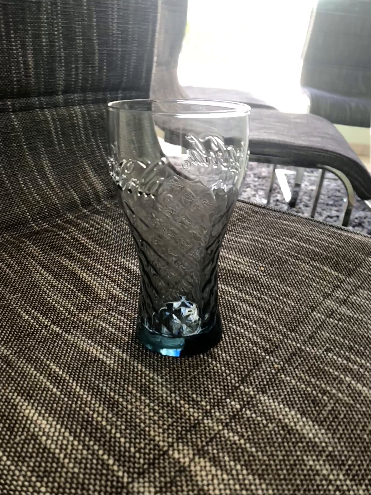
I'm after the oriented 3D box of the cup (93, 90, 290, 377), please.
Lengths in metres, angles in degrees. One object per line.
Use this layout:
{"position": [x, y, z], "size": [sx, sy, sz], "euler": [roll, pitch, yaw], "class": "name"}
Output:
{"position": [-0.003, -0.016, 0.238], "size": [0.080, 0.139, 0.080], "euler": [1, 21, 0], "class": "cup"}
